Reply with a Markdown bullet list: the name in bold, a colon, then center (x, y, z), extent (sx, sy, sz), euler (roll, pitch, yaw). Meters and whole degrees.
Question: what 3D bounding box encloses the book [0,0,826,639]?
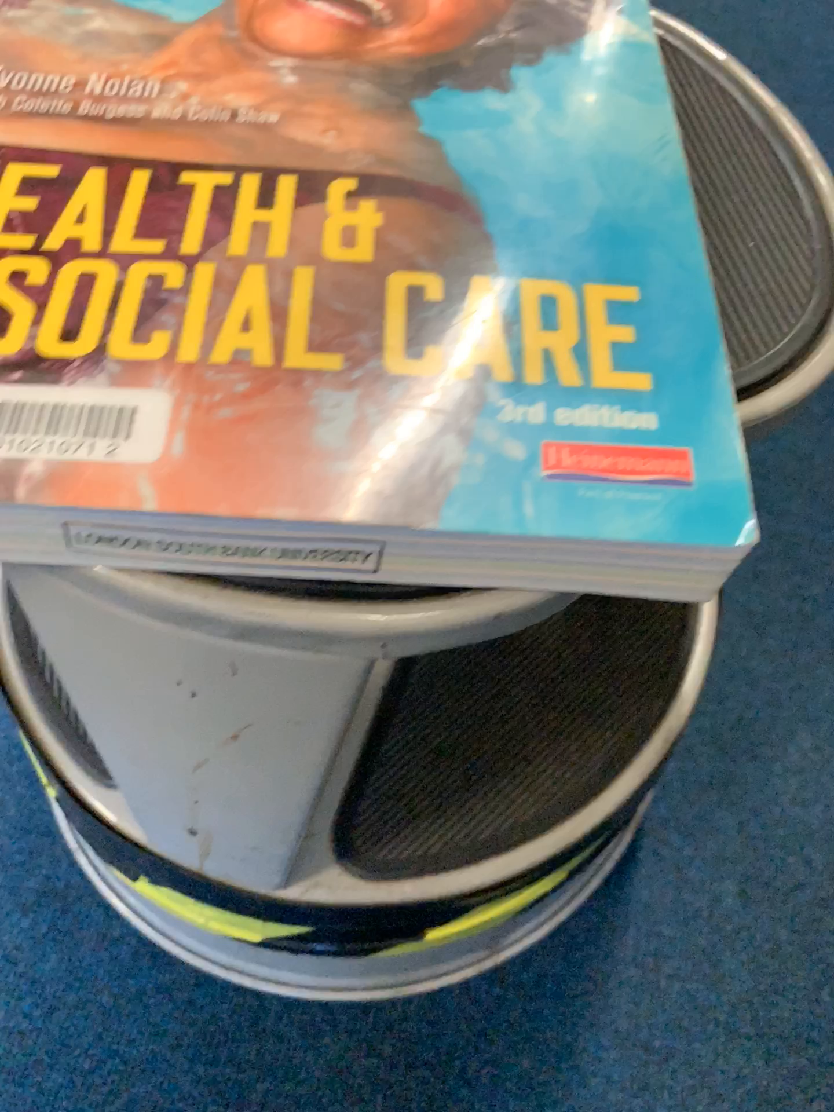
- **book**: center (-0.028, -0.113, 0.227), extent (0.200, 0.030, 0.272), euler (3, 60, -3)
